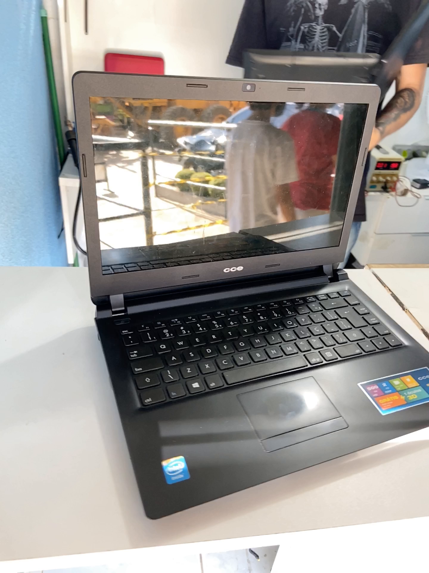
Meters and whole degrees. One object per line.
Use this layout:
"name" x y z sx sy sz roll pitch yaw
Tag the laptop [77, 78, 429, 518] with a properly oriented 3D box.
"laptop" 0.067 -0.035 0.399 0.324 0.216 0.268 -8 37 -20
